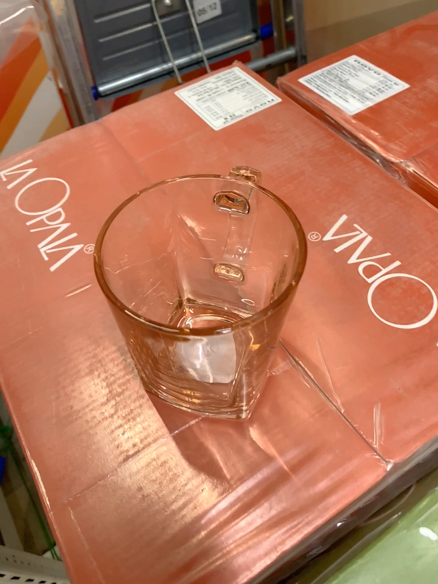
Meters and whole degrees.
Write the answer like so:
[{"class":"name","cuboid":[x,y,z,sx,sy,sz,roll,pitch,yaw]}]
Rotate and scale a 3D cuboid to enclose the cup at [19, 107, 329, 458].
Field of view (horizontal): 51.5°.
[{"class":"cup","cuboid":[-0.007,-0.001,0.208,0.080,0.110,0.100,14,57,13]}]
